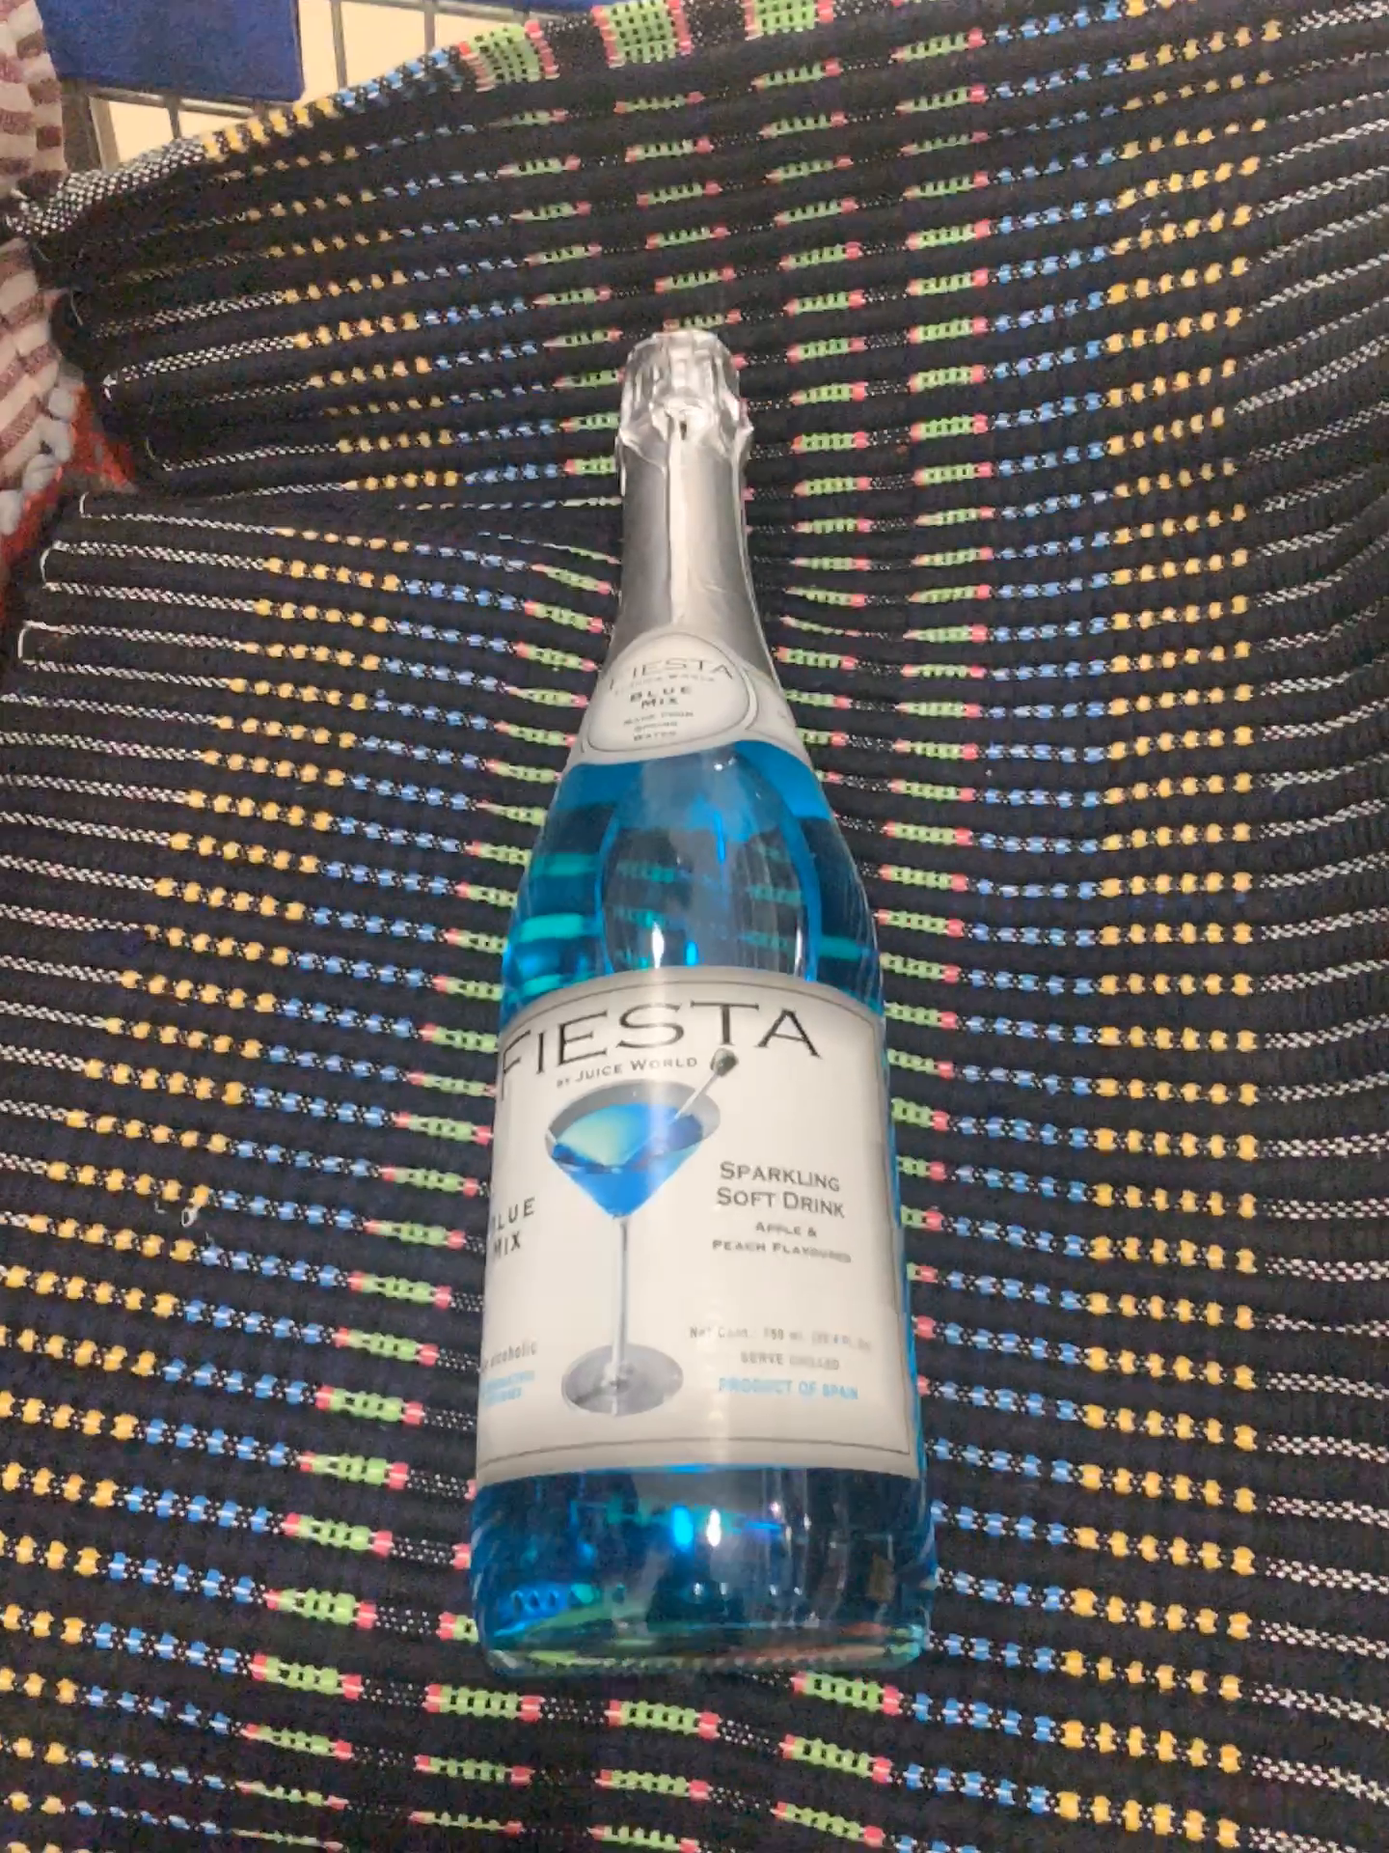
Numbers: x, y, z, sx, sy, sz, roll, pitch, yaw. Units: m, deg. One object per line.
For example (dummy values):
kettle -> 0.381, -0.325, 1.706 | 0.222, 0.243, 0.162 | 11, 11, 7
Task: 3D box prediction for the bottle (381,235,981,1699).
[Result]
bottle -> 0.003, -0.004, 0.321 | 0.080, 0.100, 0.311 | -8, 60, 12
